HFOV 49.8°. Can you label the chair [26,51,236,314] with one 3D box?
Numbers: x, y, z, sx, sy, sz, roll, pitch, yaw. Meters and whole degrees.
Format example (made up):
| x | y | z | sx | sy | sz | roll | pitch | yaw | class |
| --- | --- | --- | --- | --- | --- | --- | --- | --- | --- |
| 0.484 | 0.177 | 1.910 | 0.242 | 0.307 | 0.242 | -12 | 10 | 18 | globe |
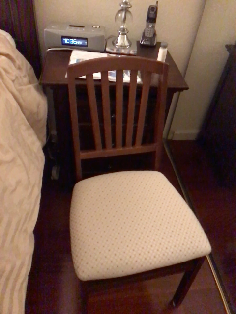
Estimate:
| x | y | z | sx | sy | sz | roll | pitch | yaw | class |
| --- | --- | --- | --- | --- | --- | --- | --- | --- | --- |
| 0.028 | 0.212 | 1.078 | 0.621 | 1.032 | 0.694 | -8 | 45 | -16 | chair |
